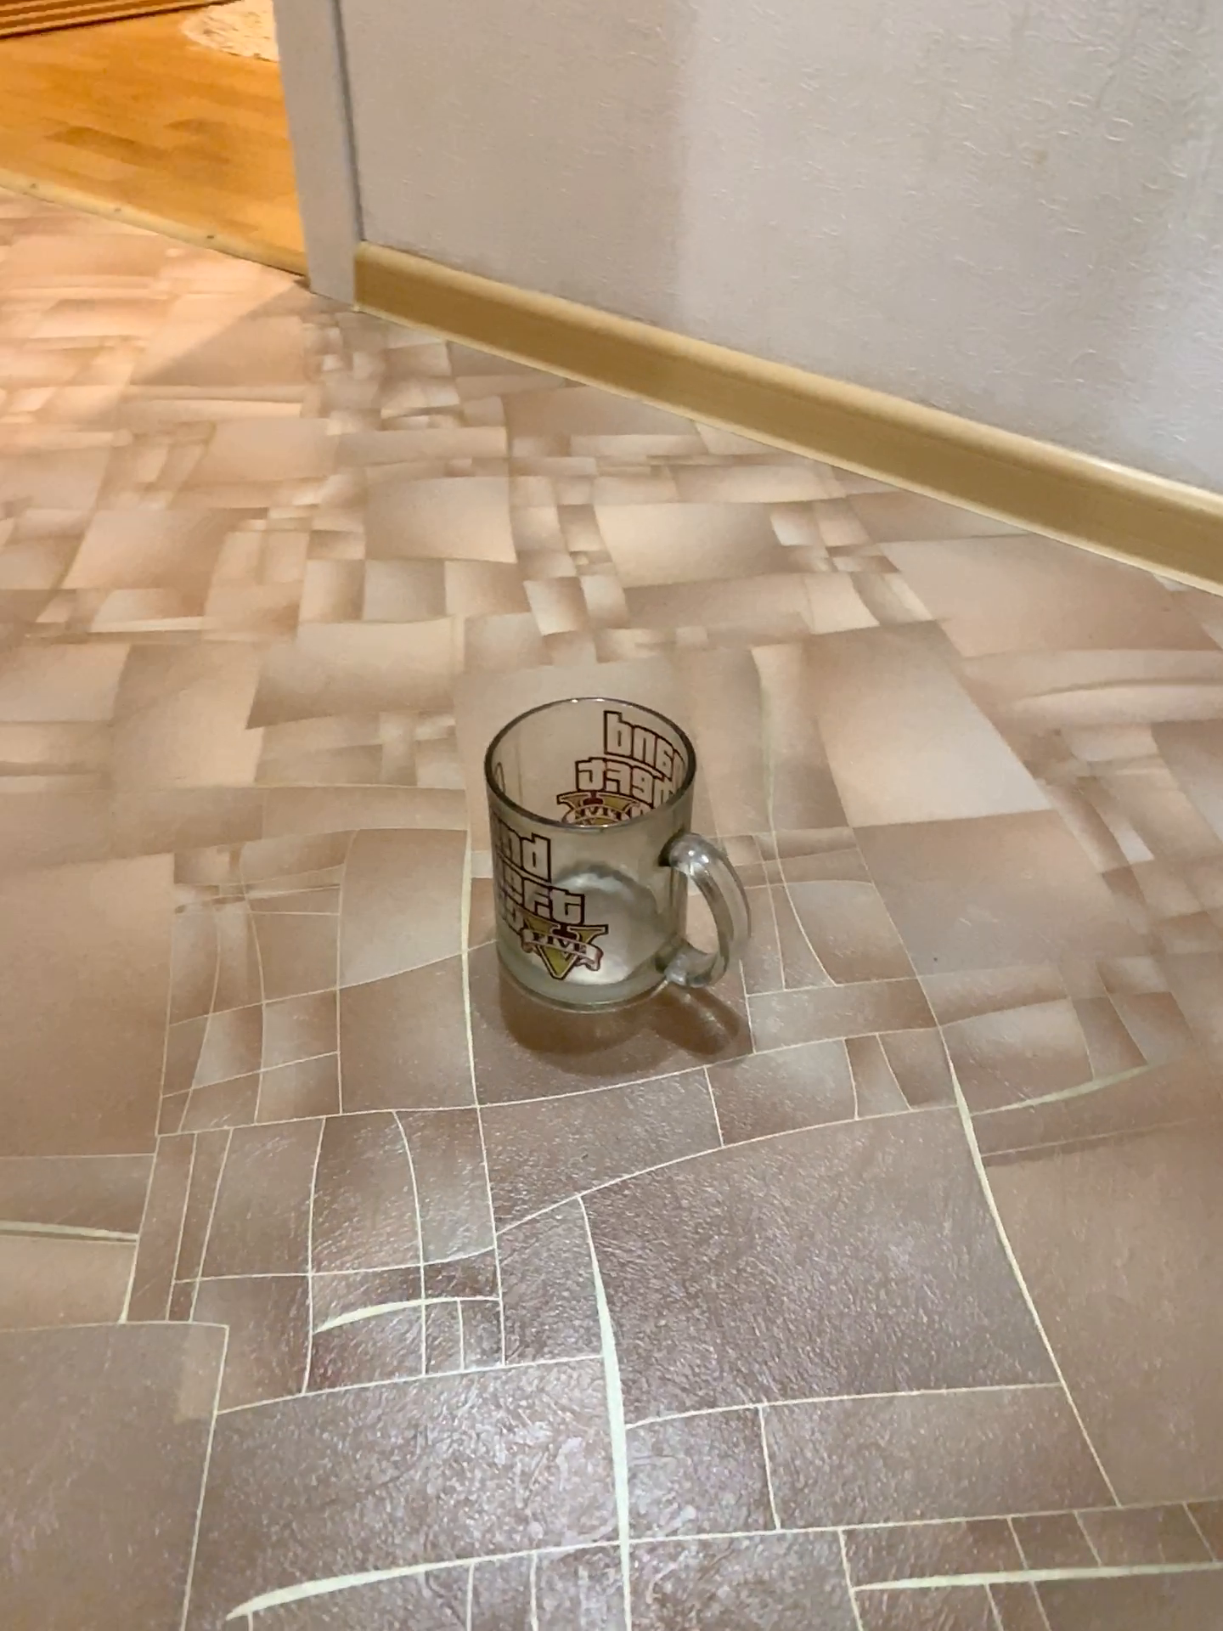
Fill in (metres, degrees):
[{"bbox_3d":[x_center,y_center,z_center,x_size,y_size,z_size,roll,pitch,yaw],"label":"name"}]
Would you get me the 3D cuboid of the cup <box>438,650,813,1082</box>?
[{"bbox_3d":[0.004,0.016,0.454,0.098,0.097,0.082,28,47,27],"label":"cup"}]
